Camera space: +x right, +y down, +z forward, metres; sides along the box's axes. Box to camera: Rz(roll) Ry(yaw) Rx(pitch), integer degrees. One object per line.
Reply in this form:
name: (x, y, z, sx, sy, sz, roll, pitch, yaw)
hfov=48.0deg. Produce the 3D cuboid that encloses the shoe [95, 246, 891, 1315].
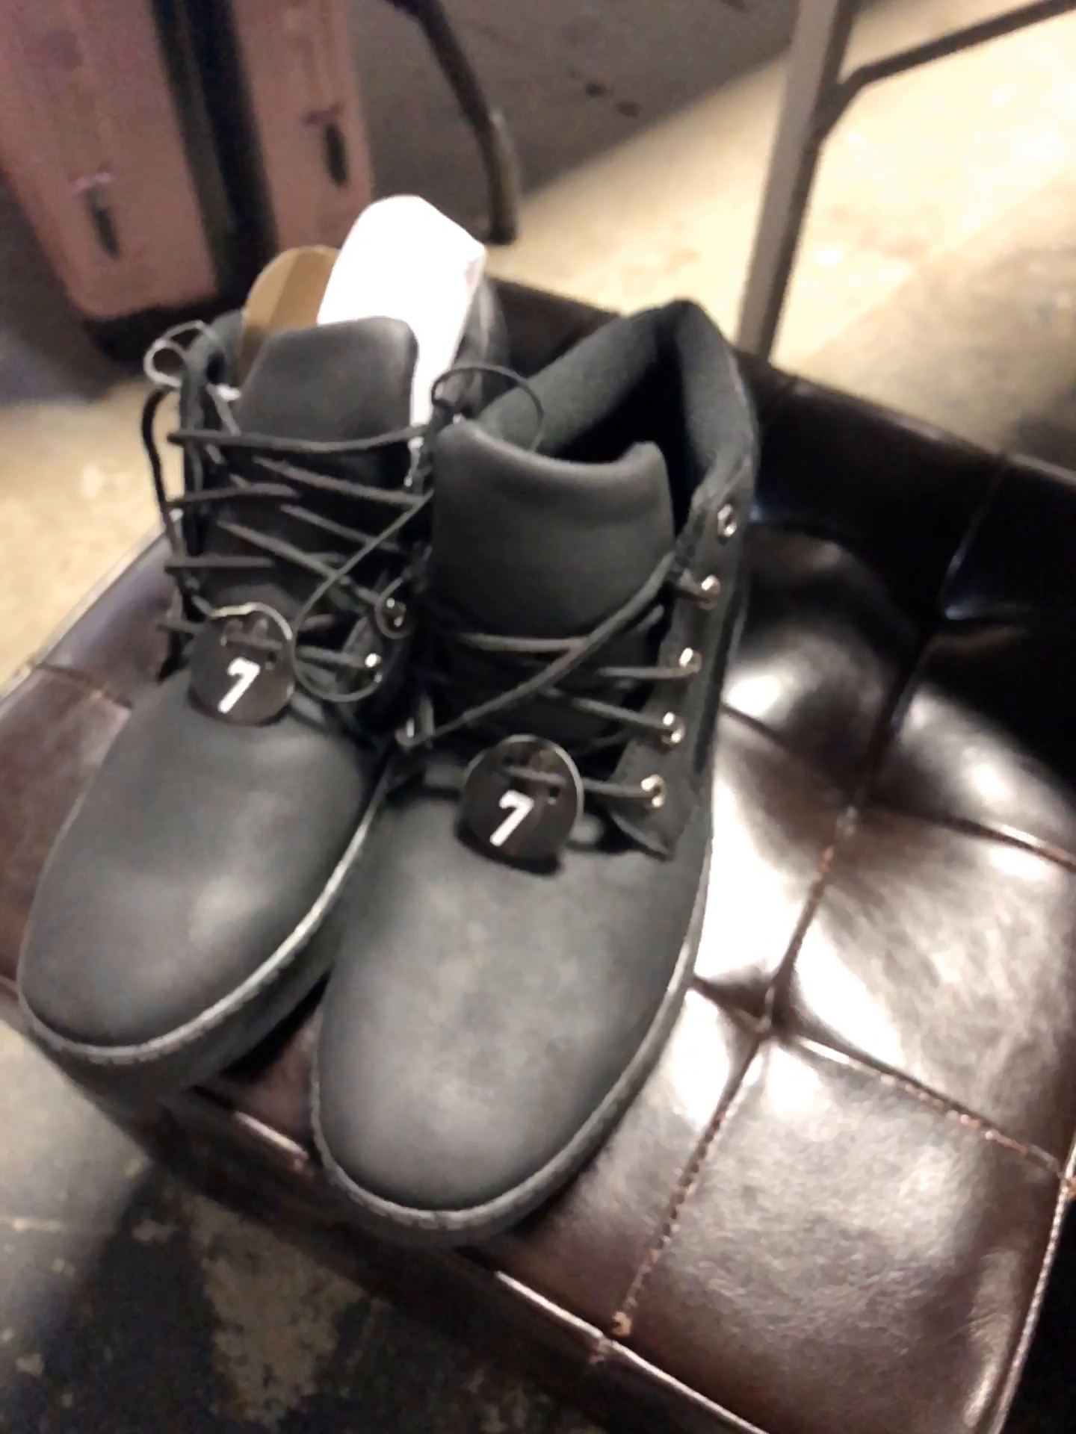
shoe: (0.005, 0.013, 0.316, 0.100, 0.139, 0.221, 17, 57, 9)

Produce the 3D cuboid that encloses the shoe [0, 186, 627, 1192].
shoe: (-0.064, -0.017, 0.371, 0.100, 0.139, 0.261, 17, 57, 9)
